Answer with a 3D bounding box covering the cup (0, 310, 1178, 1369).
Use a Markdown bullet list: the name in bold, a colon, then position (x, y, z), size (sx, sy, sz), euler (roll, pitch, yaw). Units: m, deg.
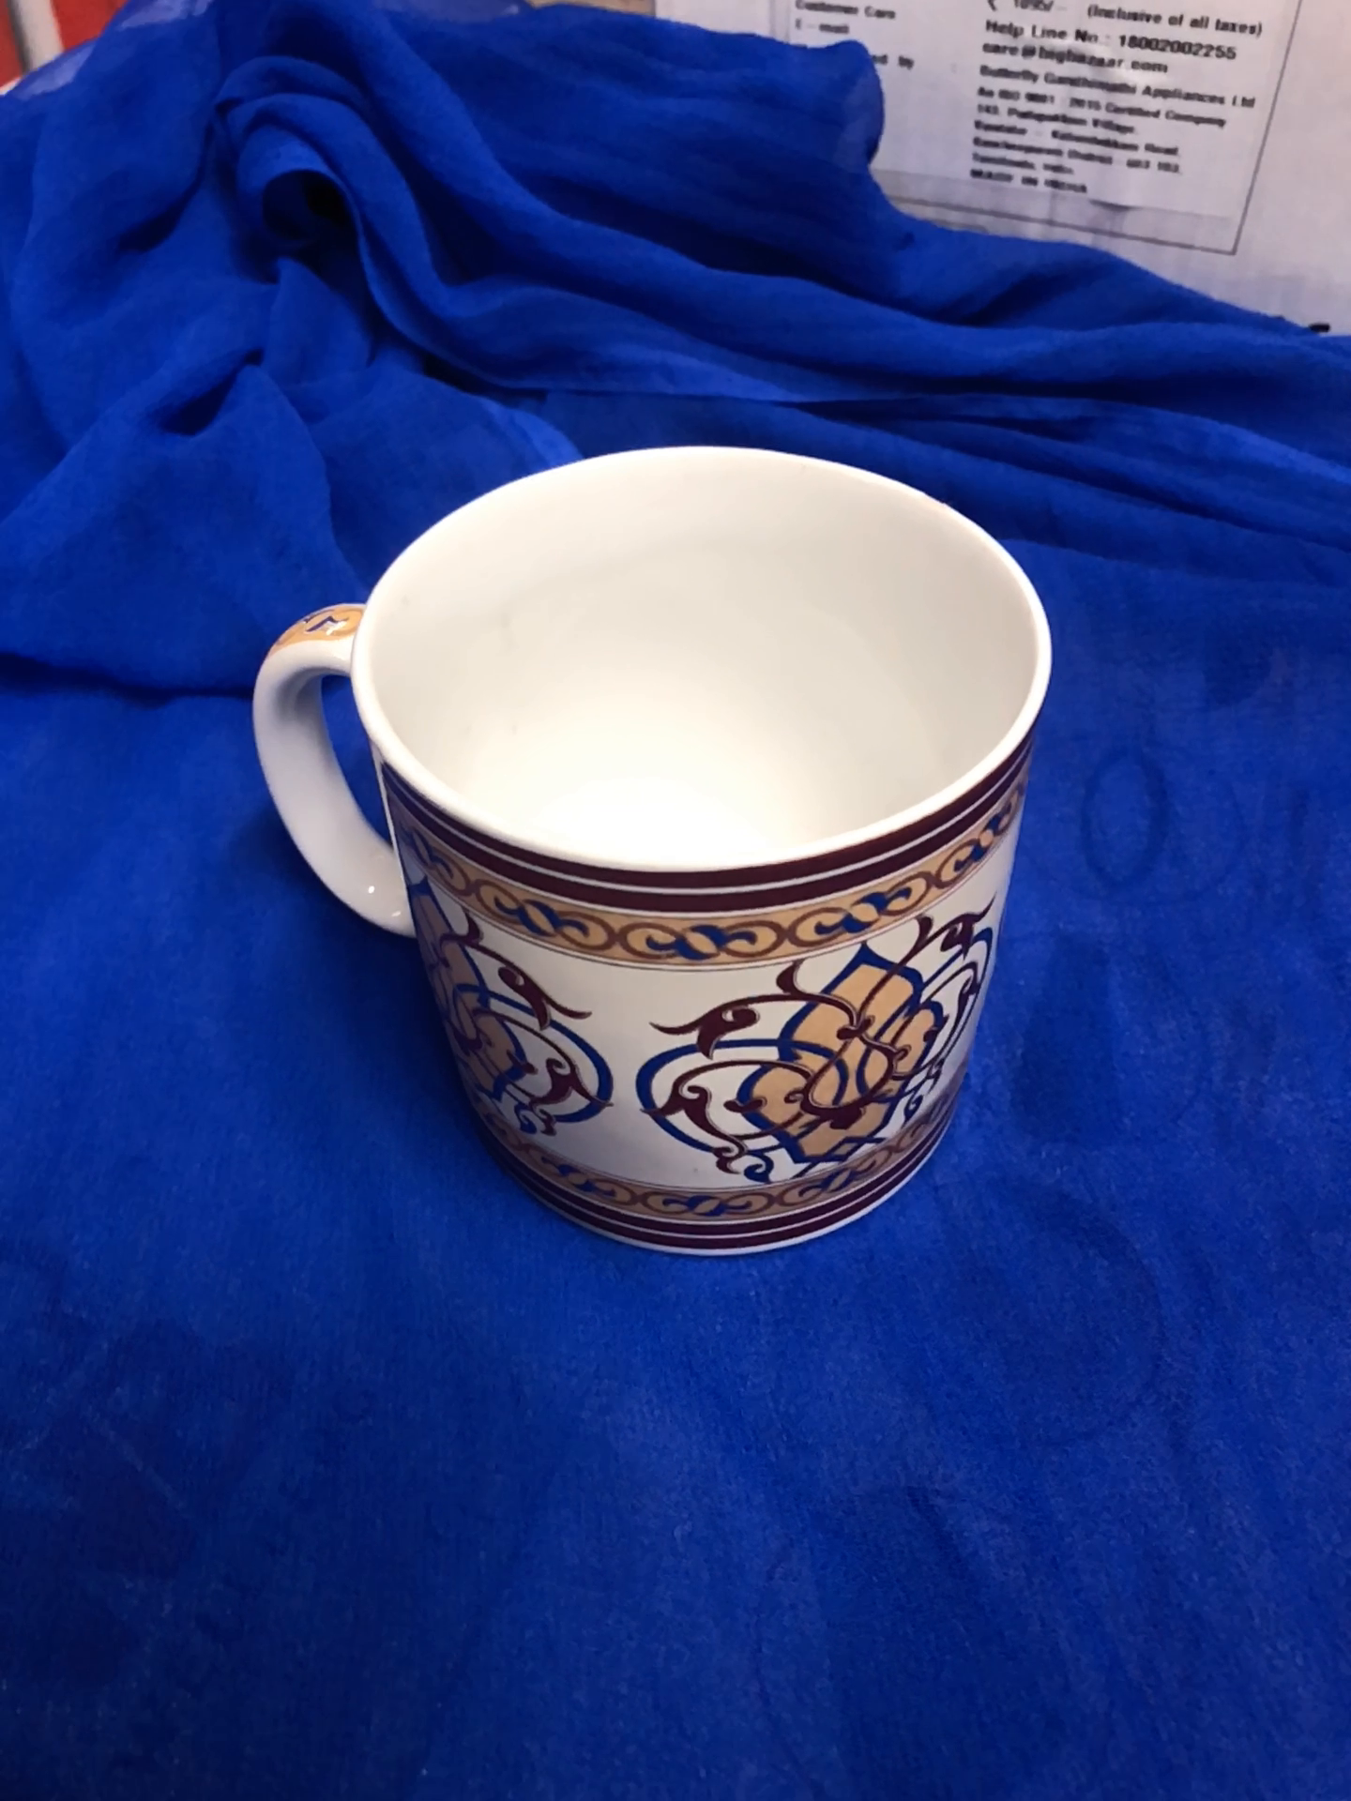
- **cup**: position (-0.006, -0.011, 0.201), size (0.110, 0.080, 0.080), euler (18, 50, 13)
